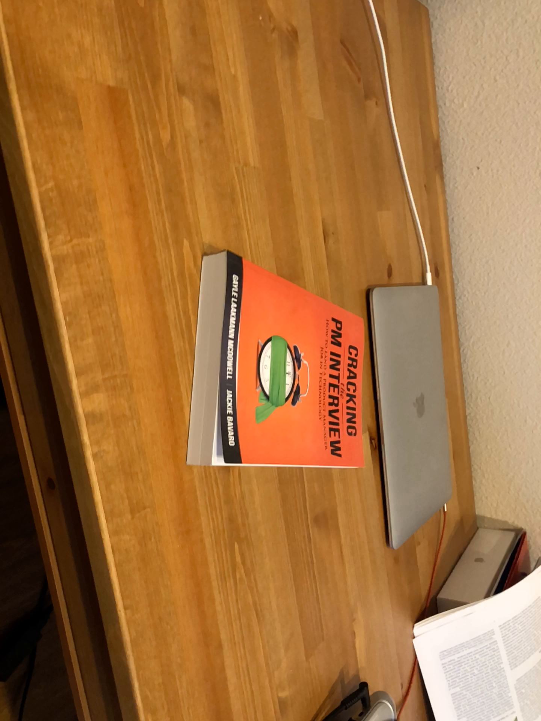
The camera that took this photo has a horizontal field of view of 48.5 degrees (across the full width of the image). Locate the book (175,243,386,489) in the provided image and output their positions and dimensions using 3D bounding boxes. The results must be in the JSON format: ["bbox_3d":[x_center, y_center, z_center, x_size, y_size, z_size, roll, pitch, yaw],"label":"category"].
[{"bbox_3d":[0.026,0.021,0.501,0.252,0.040,0.160,16,75,-55],"label":"book"}]
